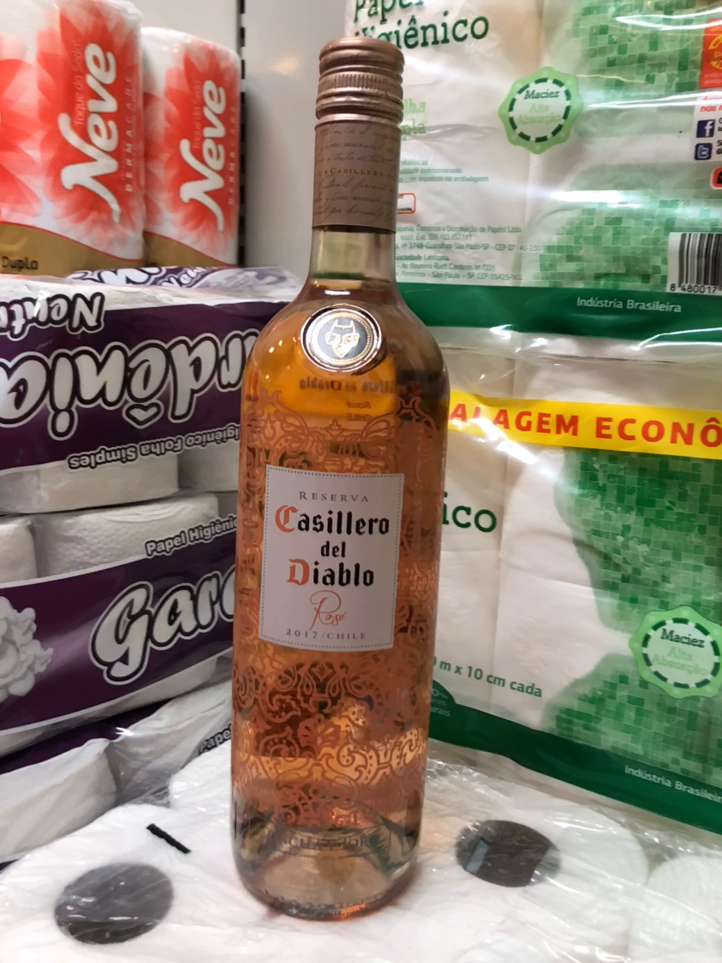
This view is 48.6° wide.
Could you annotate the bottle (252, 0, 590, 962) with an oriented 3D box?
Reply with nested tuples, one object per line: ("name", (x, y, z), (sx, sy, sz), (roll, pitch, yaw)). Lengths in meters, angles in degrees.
("bottle", (0.018, 0.014, 0.278), (0.090, 0.309, 0.080), (3, 10, 11))
